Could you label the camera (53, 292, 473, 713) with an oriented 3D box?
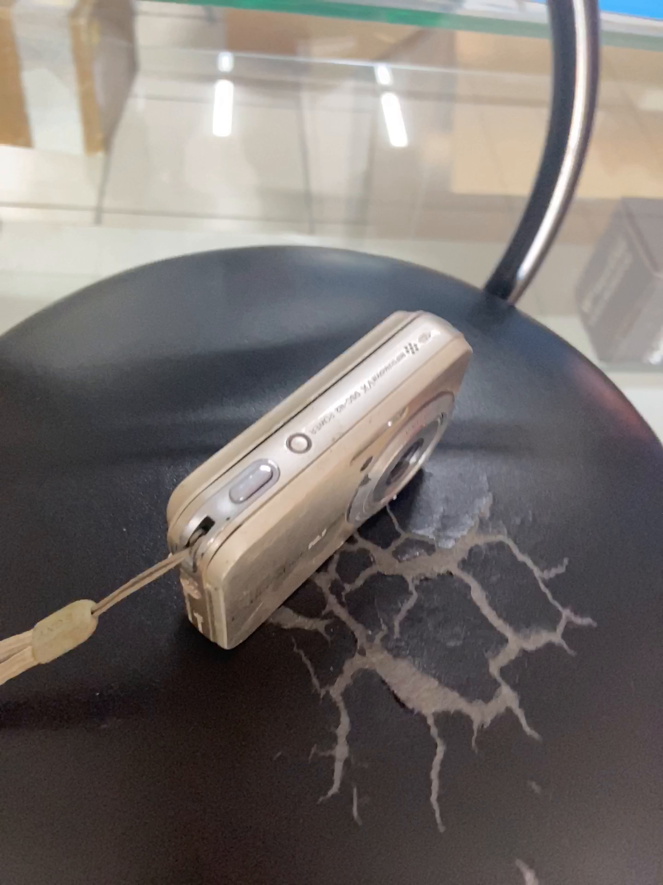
[{"bbox_3d":[-0.013,0.014,0.190,0.030,0.060,0.110,39,59,19],"label":"camera"}]
